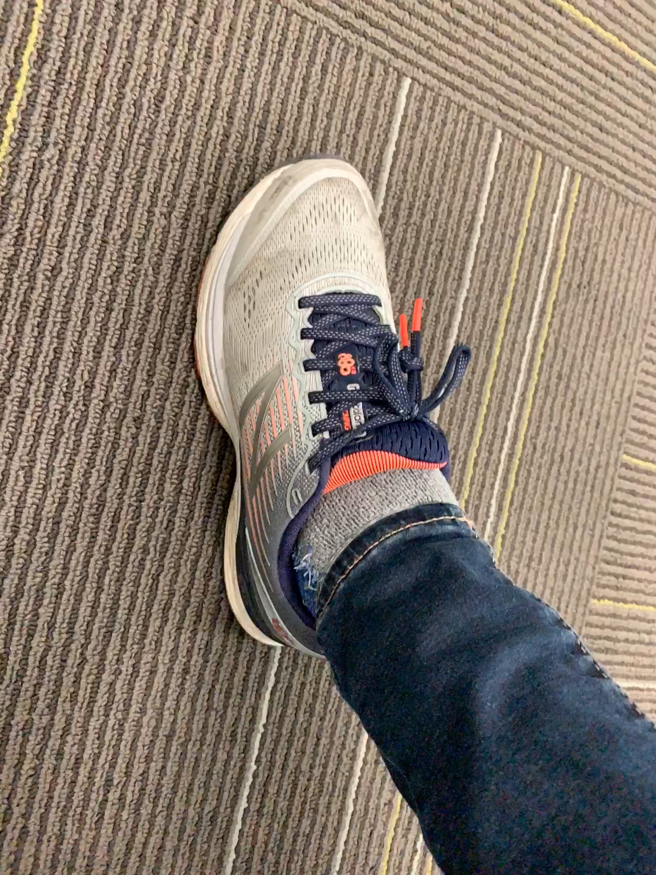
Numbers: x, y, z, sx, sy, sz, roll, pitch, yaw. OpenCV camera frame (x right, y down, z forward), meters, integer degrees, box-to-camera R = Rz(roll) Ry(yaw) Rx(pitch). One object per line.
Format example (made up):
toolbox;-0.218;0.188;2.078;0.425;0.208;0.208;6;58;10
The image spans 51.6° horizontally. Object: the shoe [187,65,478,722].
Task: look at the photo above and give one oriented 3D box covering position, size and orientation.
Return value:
shoe;-0.003;-0.017;0.344;0.110;0.090;0.270;0;95;-27
